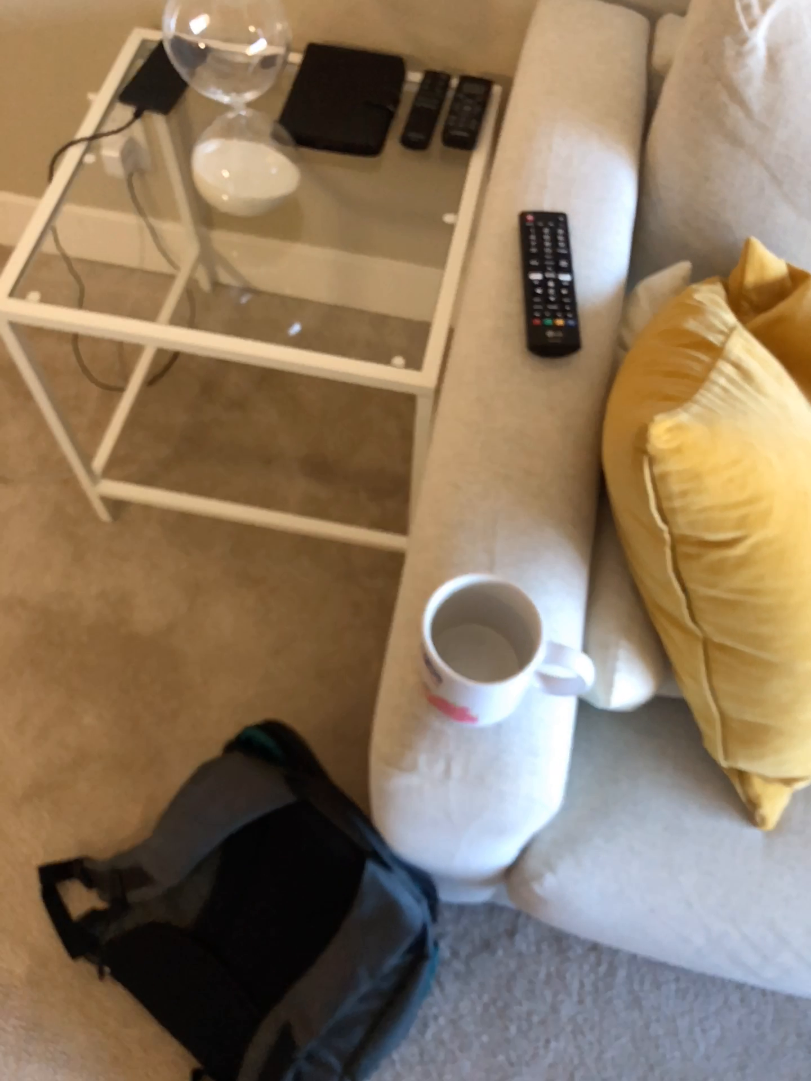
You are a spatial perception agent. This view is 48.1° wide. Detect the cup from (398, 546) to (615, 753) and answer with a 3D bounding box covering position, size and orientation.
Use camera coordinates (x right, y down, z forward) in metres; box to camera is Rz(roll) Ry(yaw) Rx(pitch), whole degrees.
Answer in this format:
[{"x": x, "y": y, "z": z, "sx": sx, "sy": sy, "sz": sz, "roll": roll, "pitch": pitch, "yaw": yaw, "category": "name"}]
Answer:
[{"x": 0.064, "y": 0.076, "z": 0.615, "sx": 0.120, "sy": 0.100, "sz": 0.080, "roll": 15, "pitch": 62, "yaw": 6, "category": "cup"}]
